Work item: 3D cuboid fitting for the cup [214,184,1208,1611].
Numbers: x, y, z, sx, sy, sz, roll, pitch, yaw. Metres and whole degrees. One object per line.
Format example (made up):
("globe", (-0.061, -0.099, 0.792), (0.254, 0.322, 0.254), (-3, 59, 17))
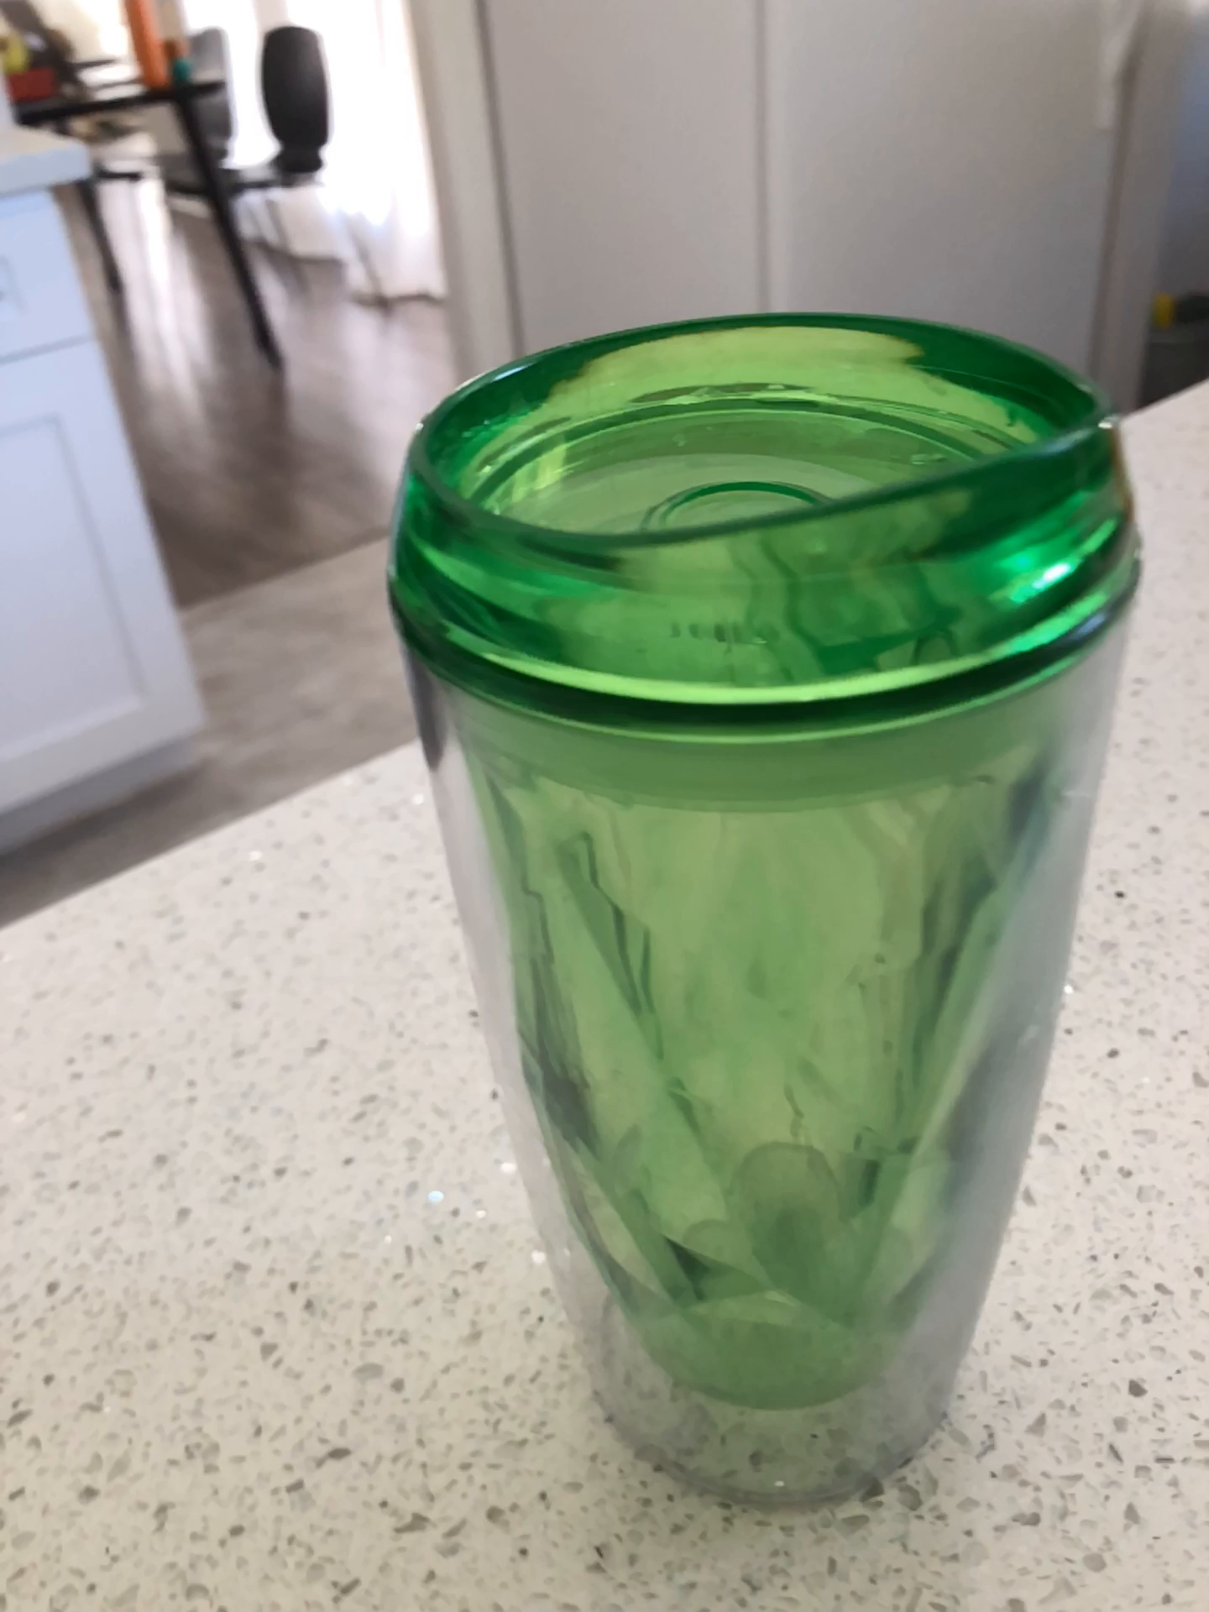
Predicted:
("cup", (0.018, 0.013, 0.188), (0.090, 0.159, 0.090), (-4, 34, 3))
